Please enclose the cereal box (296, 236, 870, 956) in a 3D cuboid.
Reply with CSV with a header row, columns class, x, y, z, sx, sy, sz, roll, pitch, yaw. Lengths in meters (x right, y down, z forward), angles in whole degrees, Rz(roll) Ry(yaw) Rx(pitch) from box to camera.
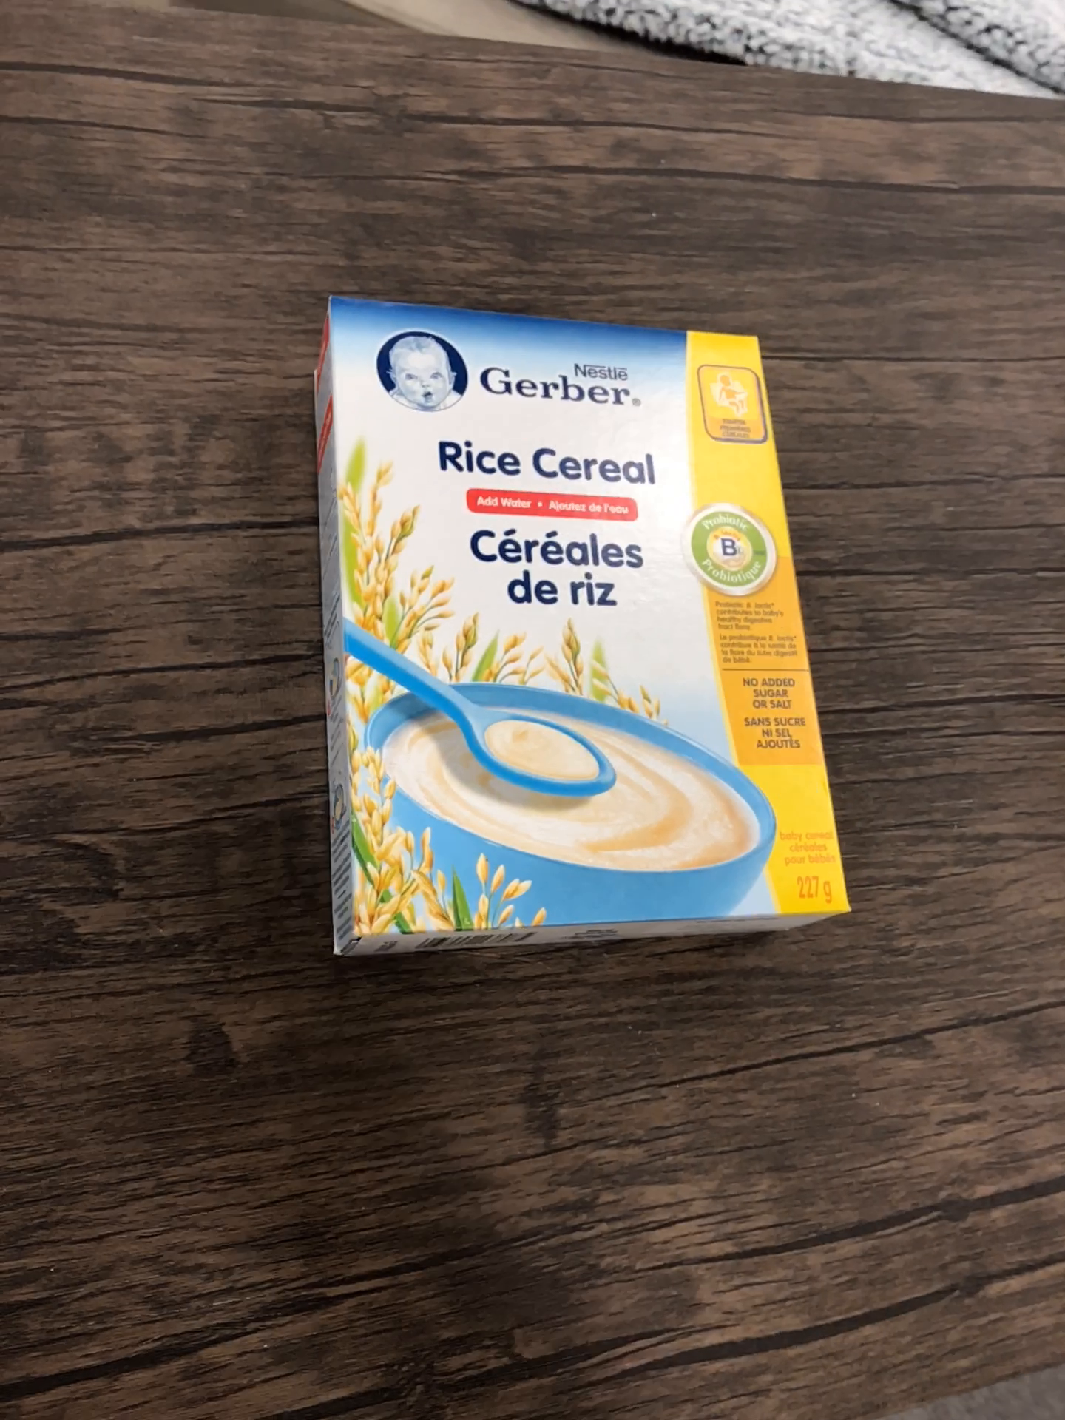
class,x,y,z,sx,sy,sz,roll,pitch,yaw
cereal box,0.008,-0.033,0.360,0.150,0.050,0.200,0,74,-16
